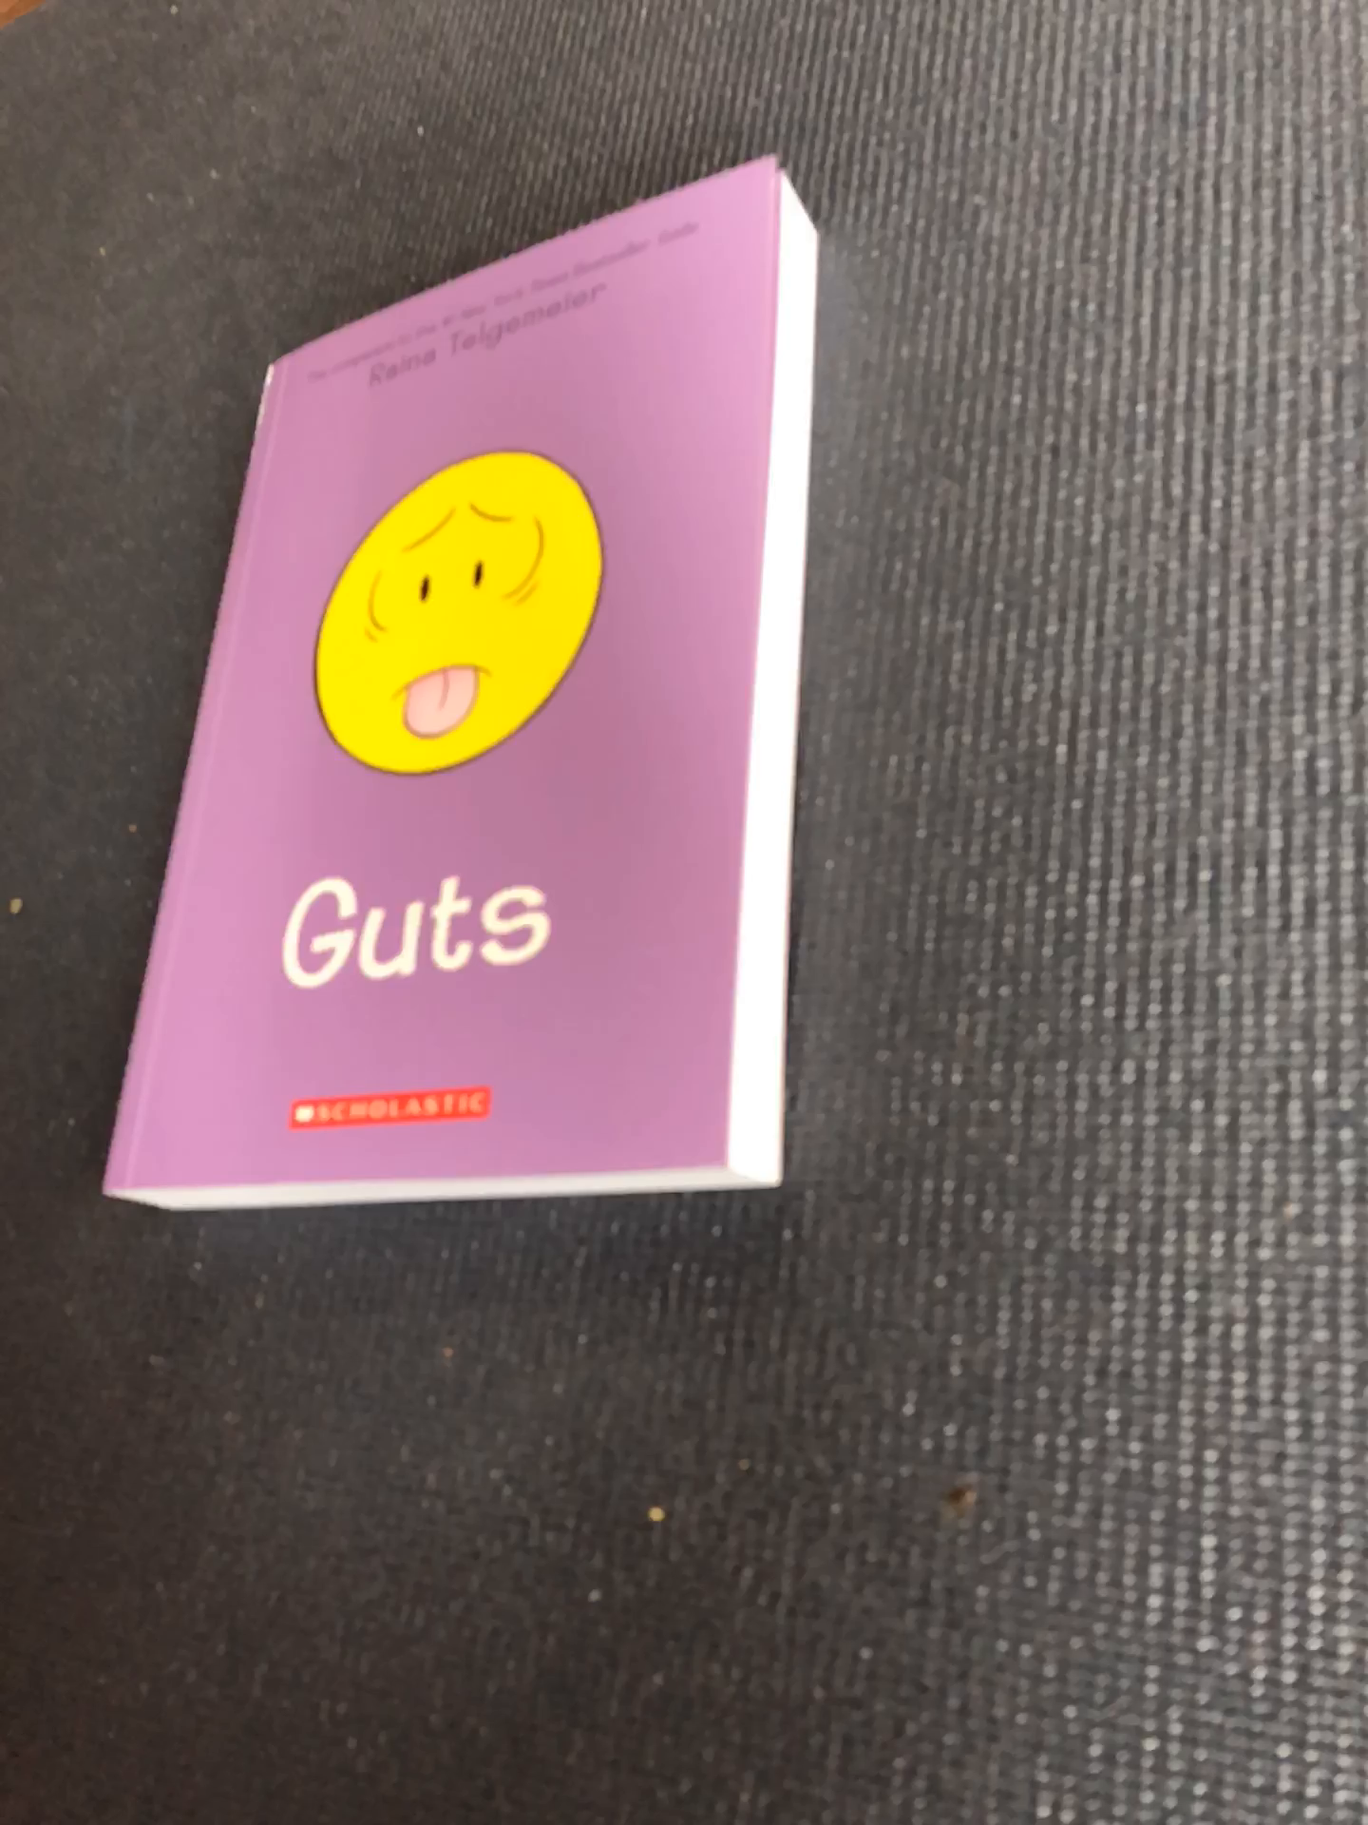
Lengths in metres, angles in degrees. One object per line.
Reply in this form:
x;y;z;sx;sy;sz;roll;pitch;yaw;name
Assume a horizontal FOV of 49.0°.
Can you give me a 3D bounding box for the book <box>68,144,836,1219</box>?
-0.044;-0.044;0.301;0.143;0.024;0.202;-8;66;29;book
